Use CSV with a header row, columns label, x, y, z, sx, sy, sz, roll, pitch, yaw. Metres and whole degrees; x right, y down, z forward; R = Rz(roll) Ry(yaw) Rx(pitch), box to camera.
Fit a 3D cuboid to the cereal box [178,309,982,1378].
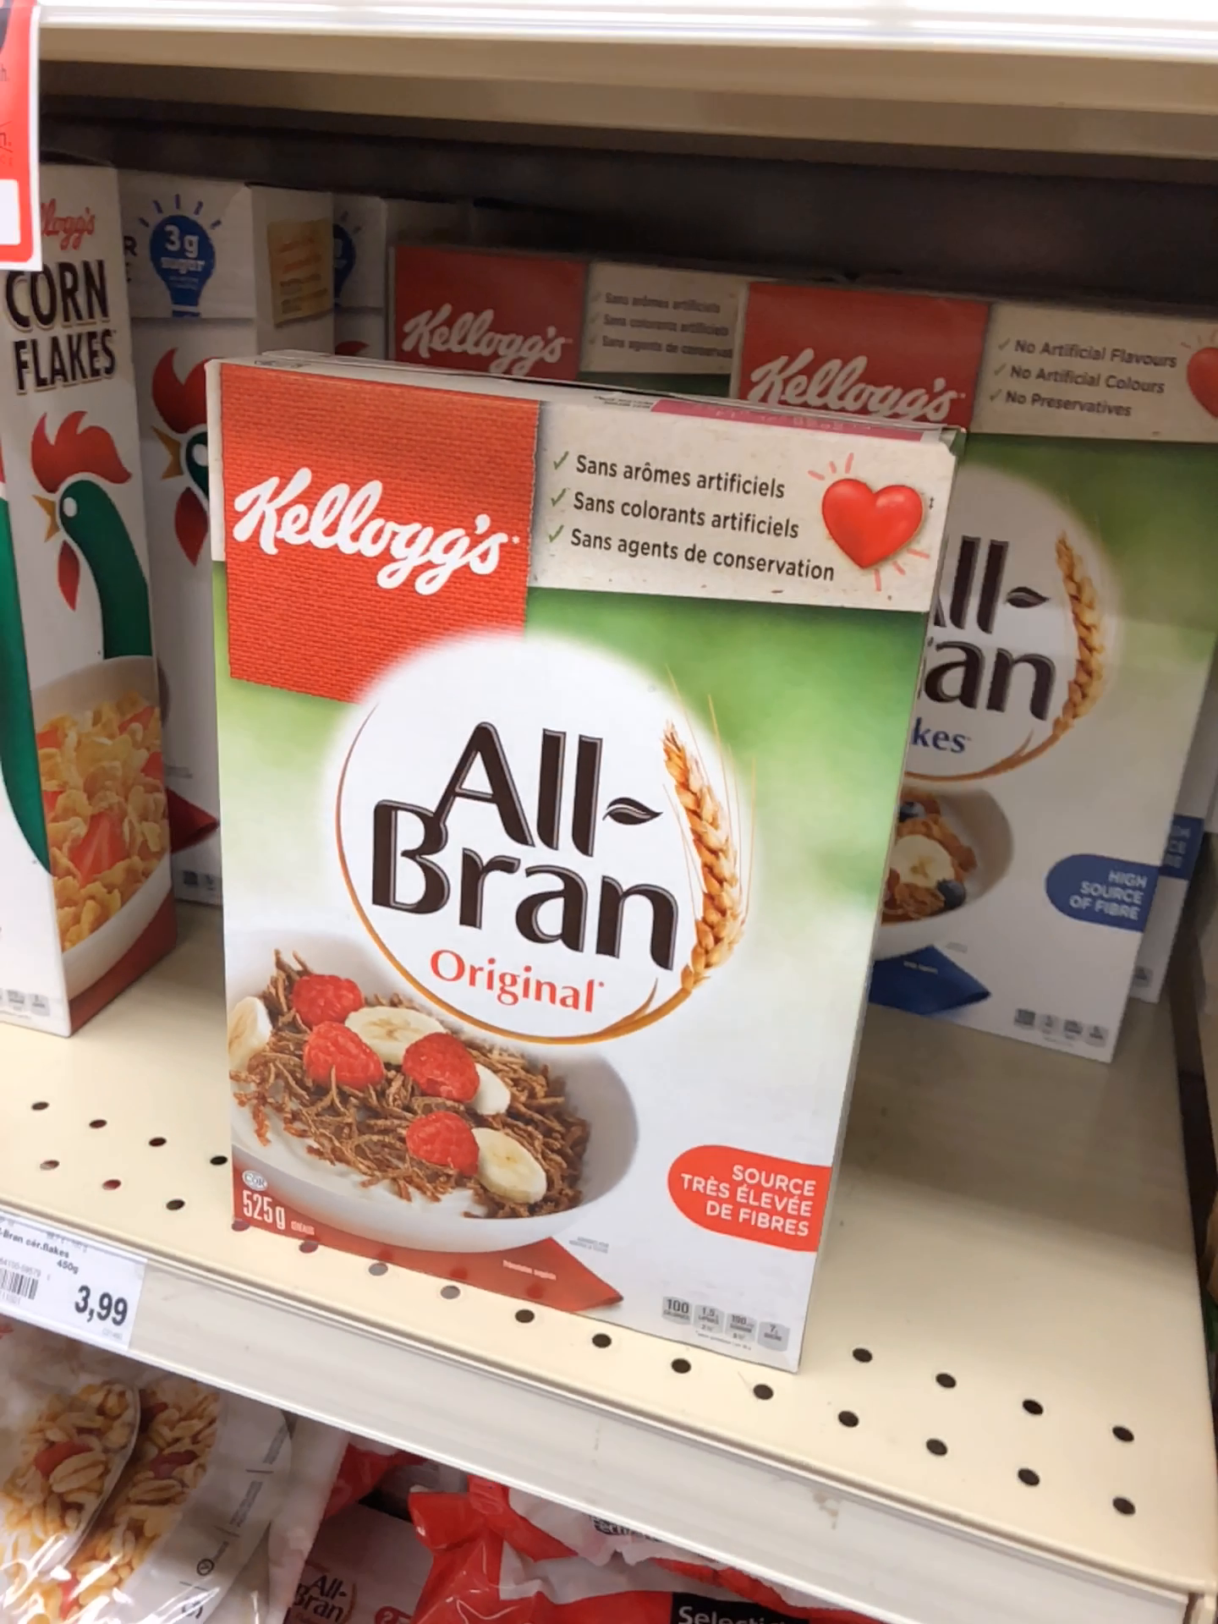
label,x,y,z,sx,sy,sz,roll,pitch,yaw
cereal box,-0.013,0.011,0.394,0.190,0.278,0.070,10,24,13
